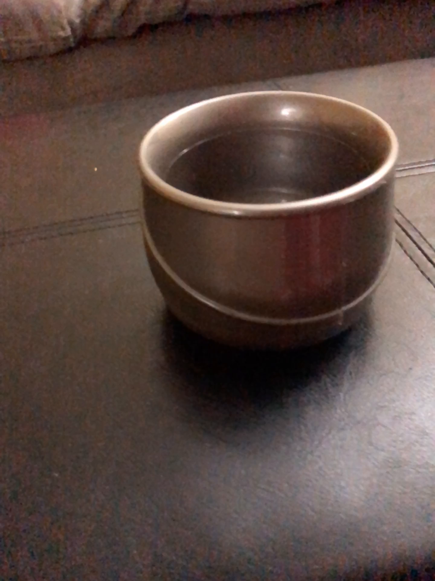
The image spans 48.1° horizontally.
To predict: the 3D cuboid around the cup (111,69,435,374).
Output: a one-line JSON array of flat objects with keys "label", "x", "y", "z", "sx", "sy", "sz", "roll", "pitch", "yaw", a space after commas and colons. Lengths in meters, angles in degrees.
[{"label": "cup", "x": 0.018, "y": -0.028, "z": 0.175, "sx": 0.083, "sy": 0.066, "sz": 0.091, "roll": -3, "pitch": 42, "yaw": 2}]
